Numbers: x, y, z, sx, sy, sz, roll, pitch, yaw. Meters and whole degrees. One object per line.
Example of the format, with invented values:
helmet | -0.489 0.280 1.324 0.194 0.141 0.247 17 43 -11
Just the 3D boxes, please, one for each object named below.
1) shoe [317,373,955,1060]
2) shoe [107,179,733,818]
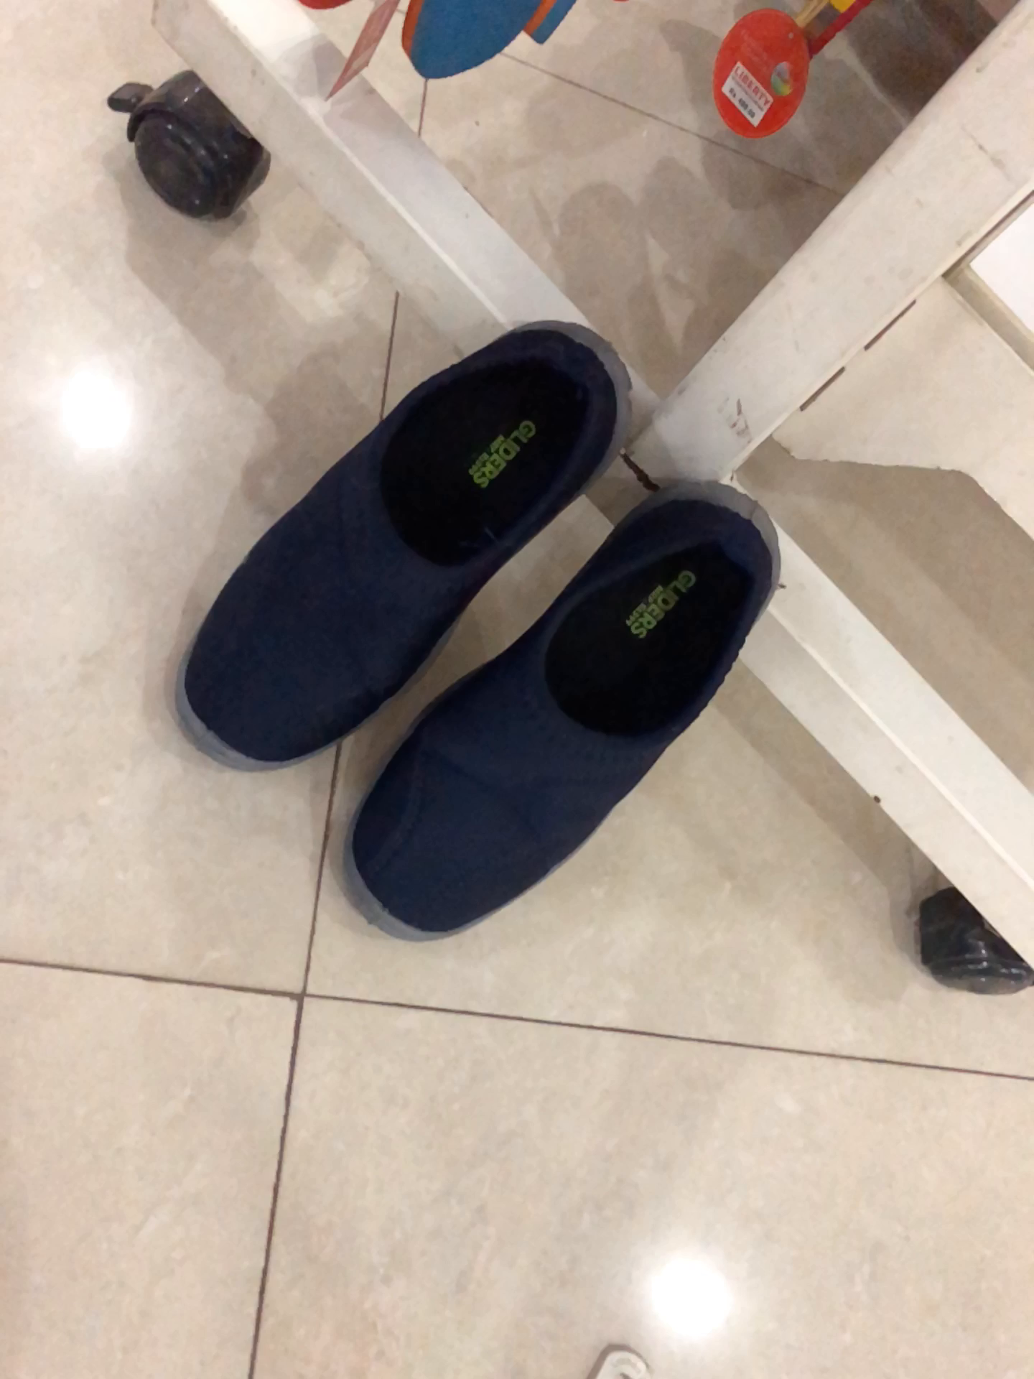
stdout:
shoe | 0.087 0.020 0.920 0.186 0.208 0.489 41 84 2
shoe | -0.069 -0.132 0.890 0.160 0.200 0.460 43 85 -2
